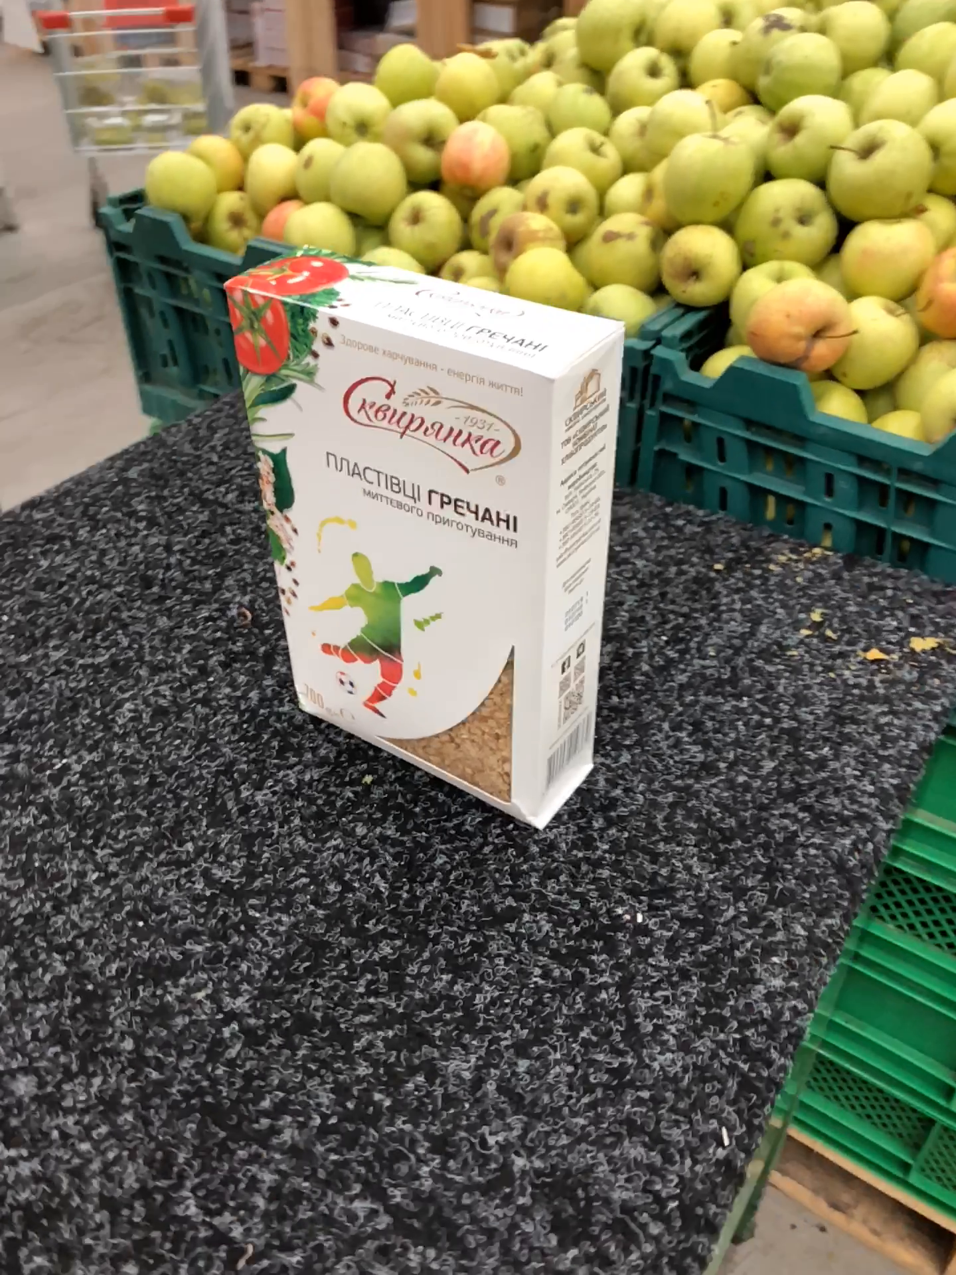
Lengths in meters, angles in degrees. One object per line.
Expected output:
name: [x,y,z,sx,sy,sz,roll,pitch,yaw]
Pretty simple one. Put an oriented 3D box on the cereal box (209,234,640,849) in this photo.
cereal box: [-0.022,-0.038,0.474,0.160,0.238,0.060,23,45,27]
